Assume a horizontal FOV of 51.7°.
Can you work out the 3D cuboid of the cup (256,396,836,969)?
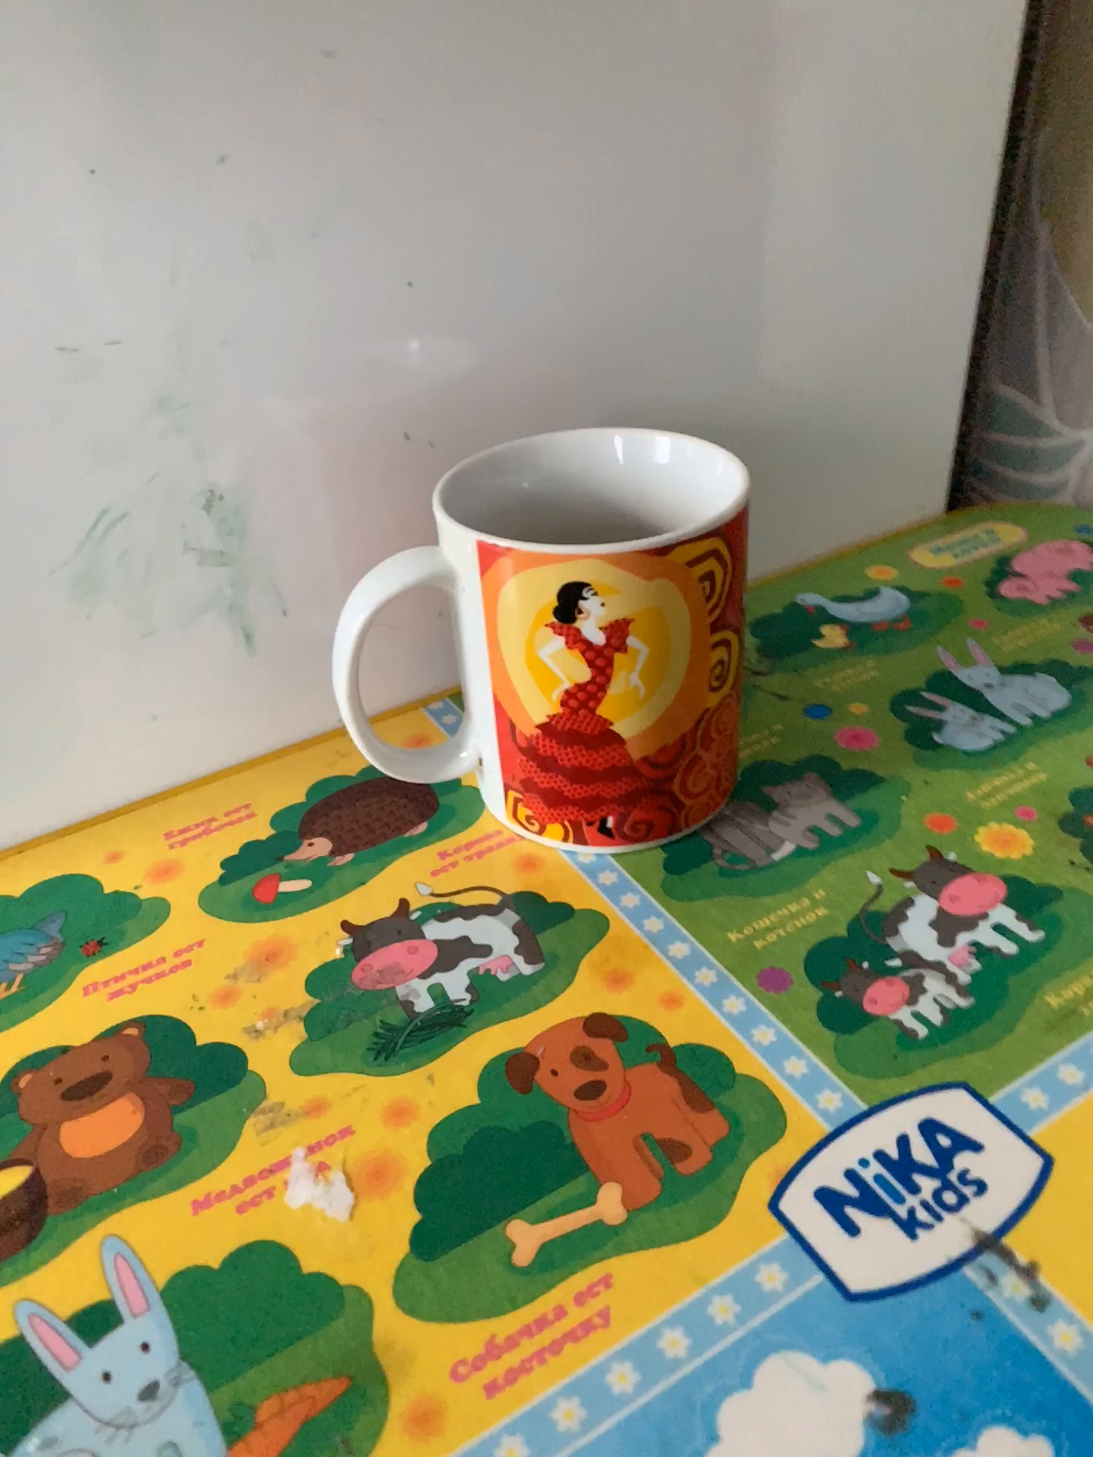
[{"bbox_3d":[0.000,-0.019,0.306,0.119,0.097,0.085,-19,36,-21],"label":"cup"}]
